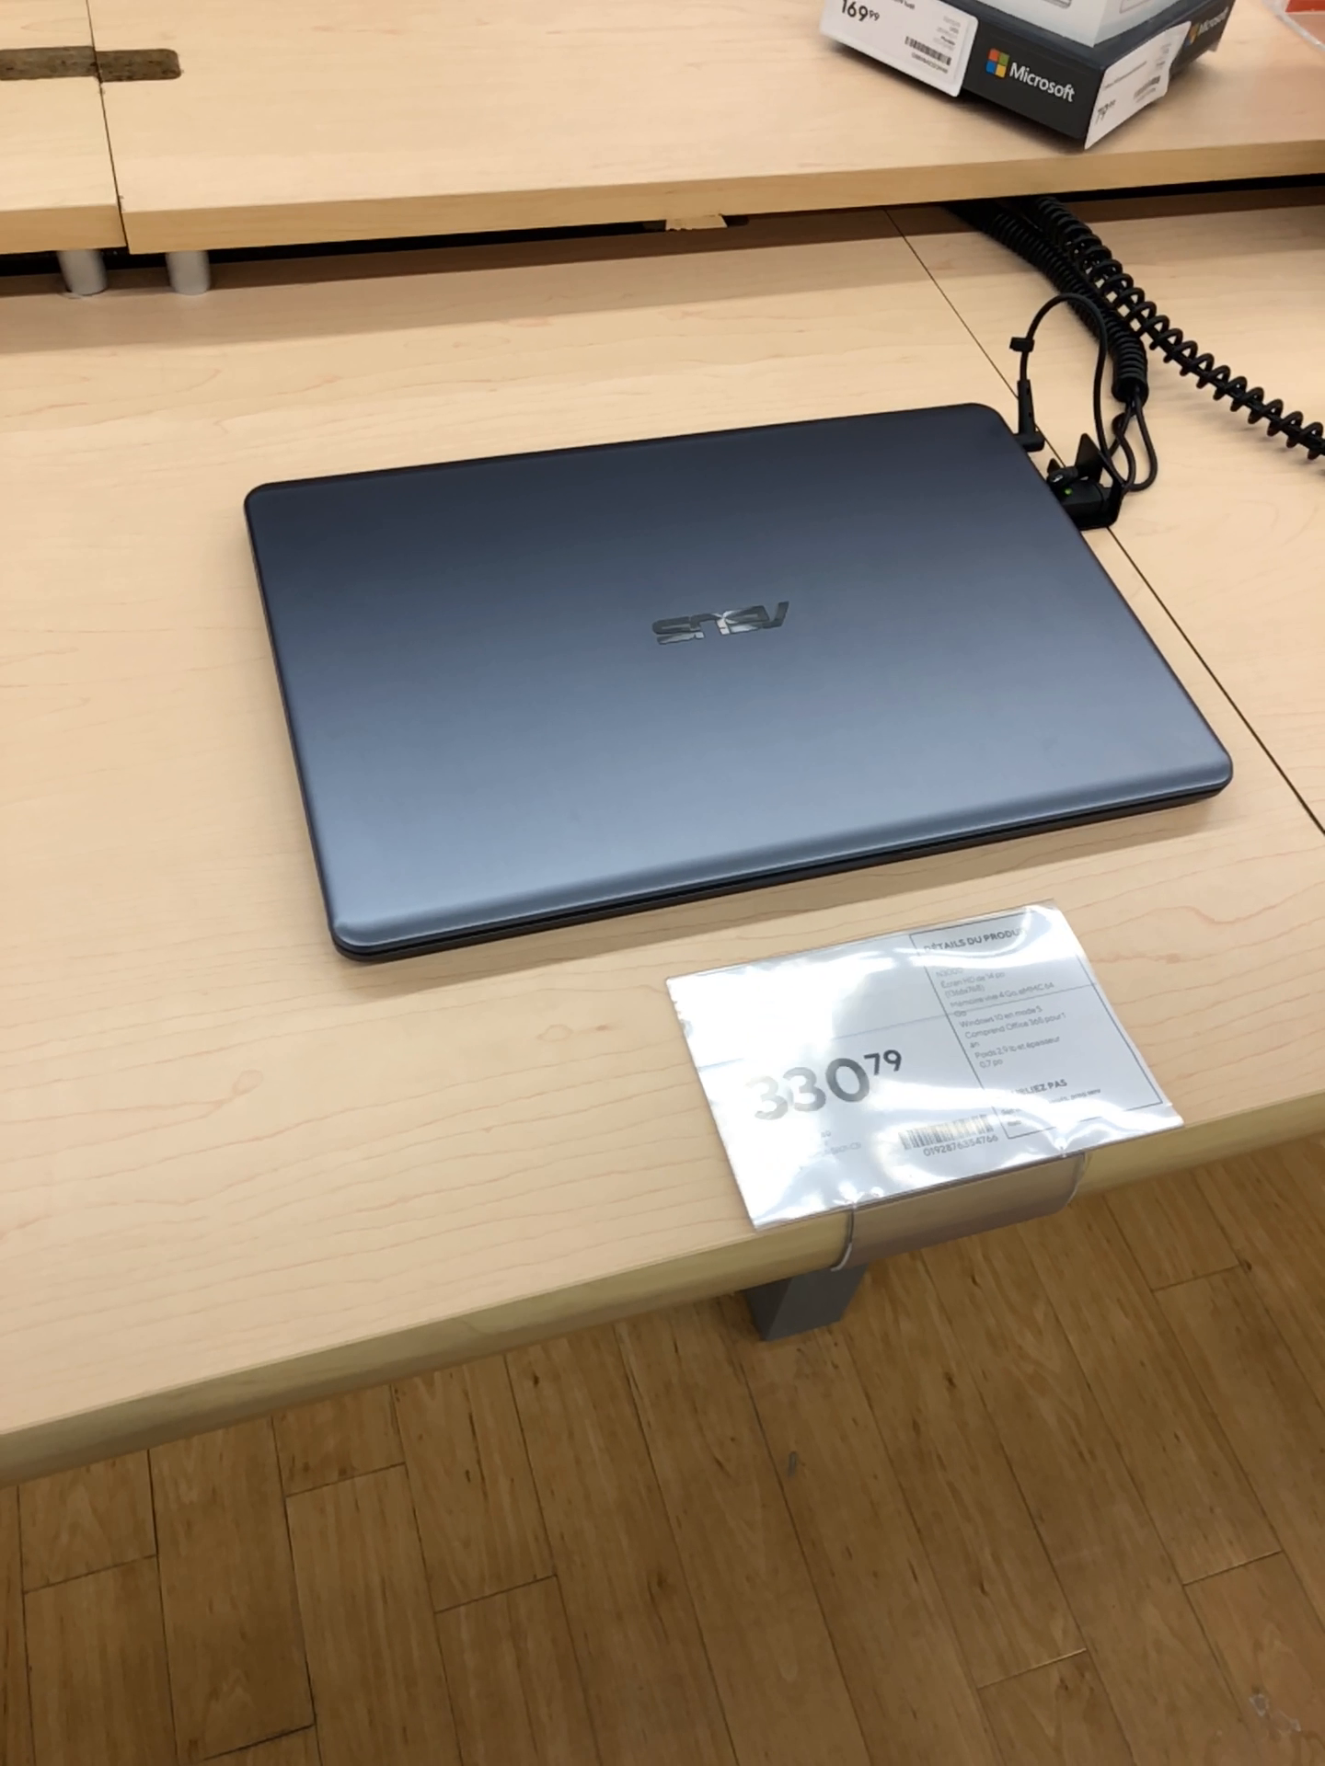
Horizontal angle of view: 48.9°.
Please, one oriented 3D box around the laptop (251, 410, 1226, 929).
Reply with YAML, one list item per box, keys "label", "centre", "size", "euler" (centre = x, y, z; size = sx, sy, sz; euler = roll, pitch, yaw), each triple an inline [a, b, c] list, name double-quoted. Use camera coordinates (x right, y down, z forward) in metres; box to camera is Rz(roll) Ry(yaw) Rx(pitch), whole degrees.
- label: "laptop"
  centre: [0.022, -0.097, 0.549]
  size: [0.318, 0.001, 0.210]
  euler: [-11, 56, -14]
